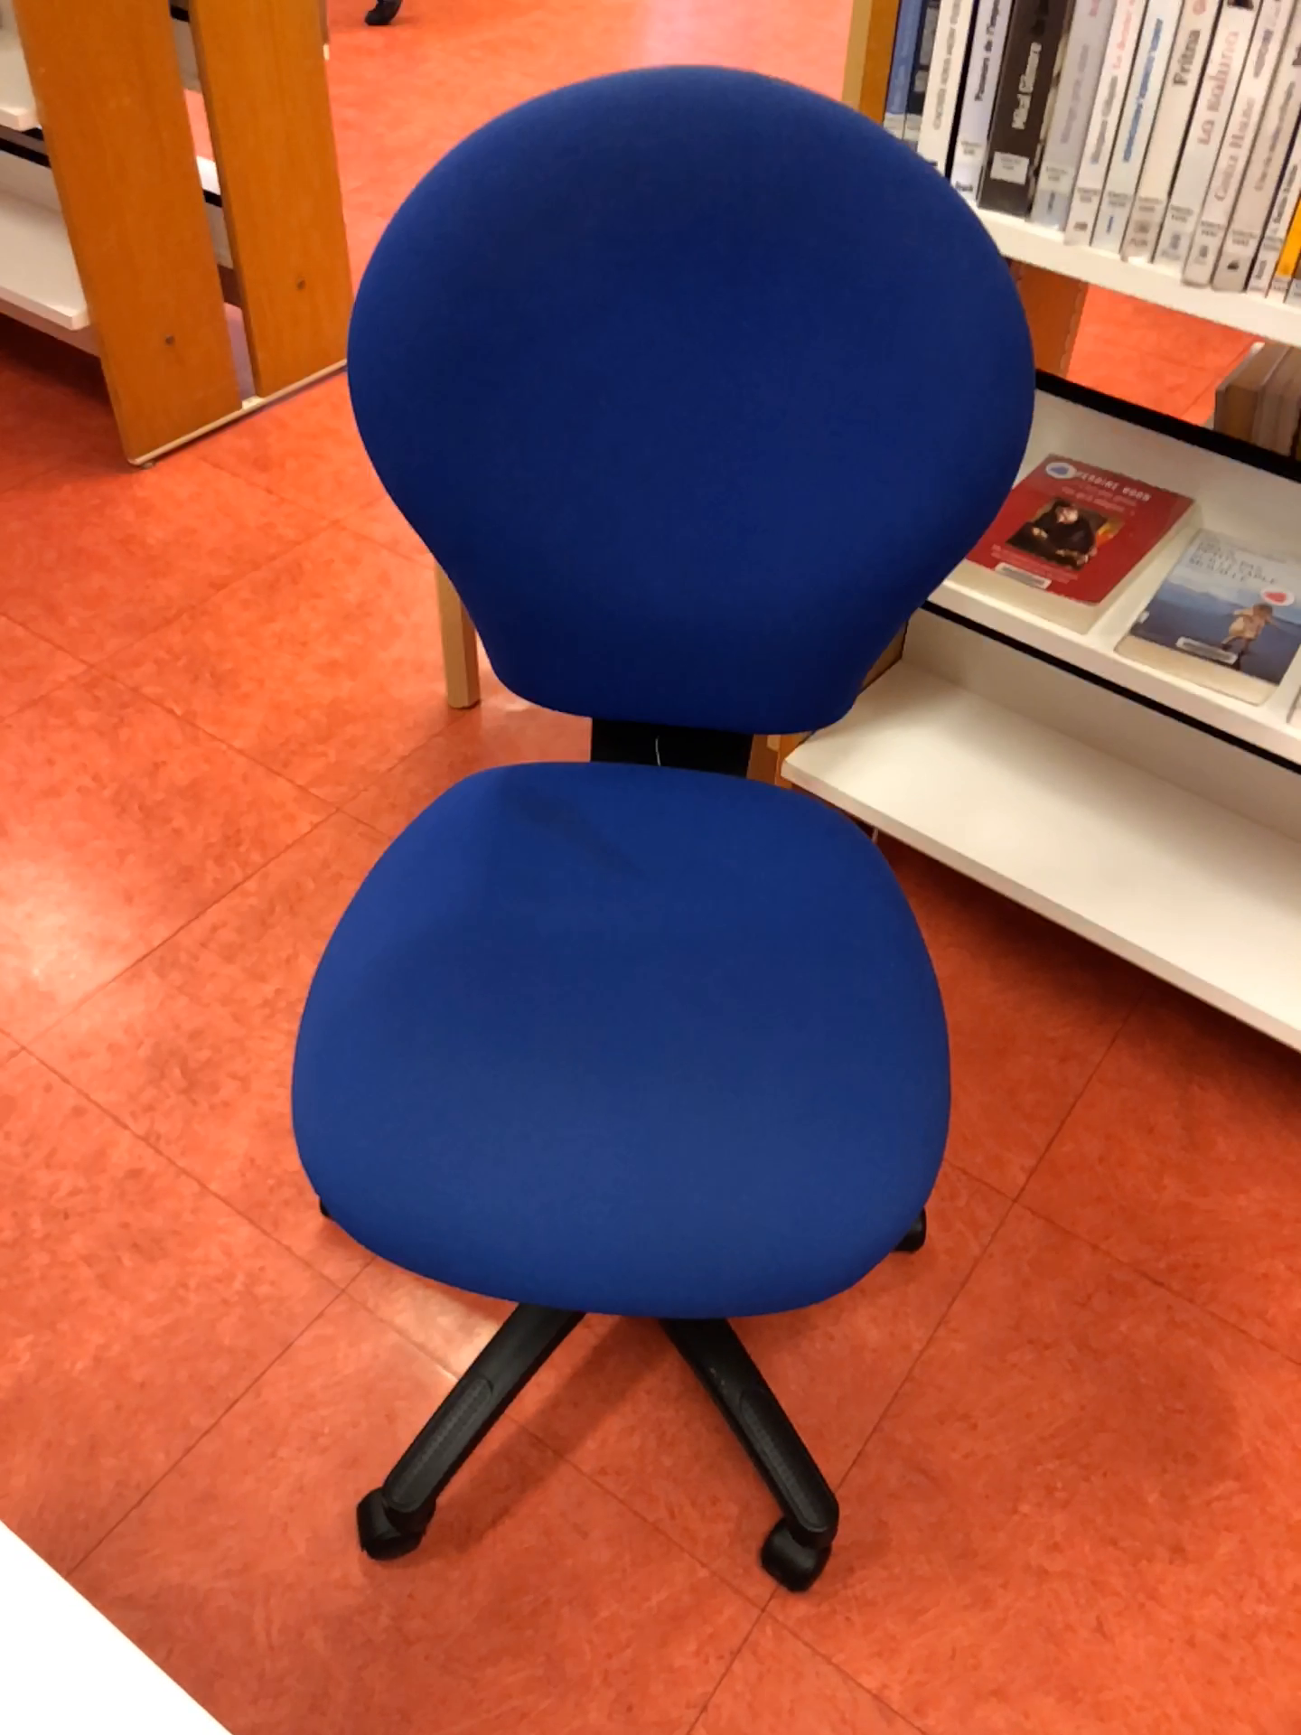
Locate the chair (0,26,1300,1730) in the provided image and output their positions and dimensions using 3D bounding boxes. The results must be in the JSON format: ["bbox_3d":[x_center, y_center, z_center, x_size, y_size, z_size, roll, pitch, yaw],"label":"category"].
[{"bbox_3d":[-0.013,0.045,0.991,0.660,0.914,0.624,11,46,8],"label":"chair"}]
